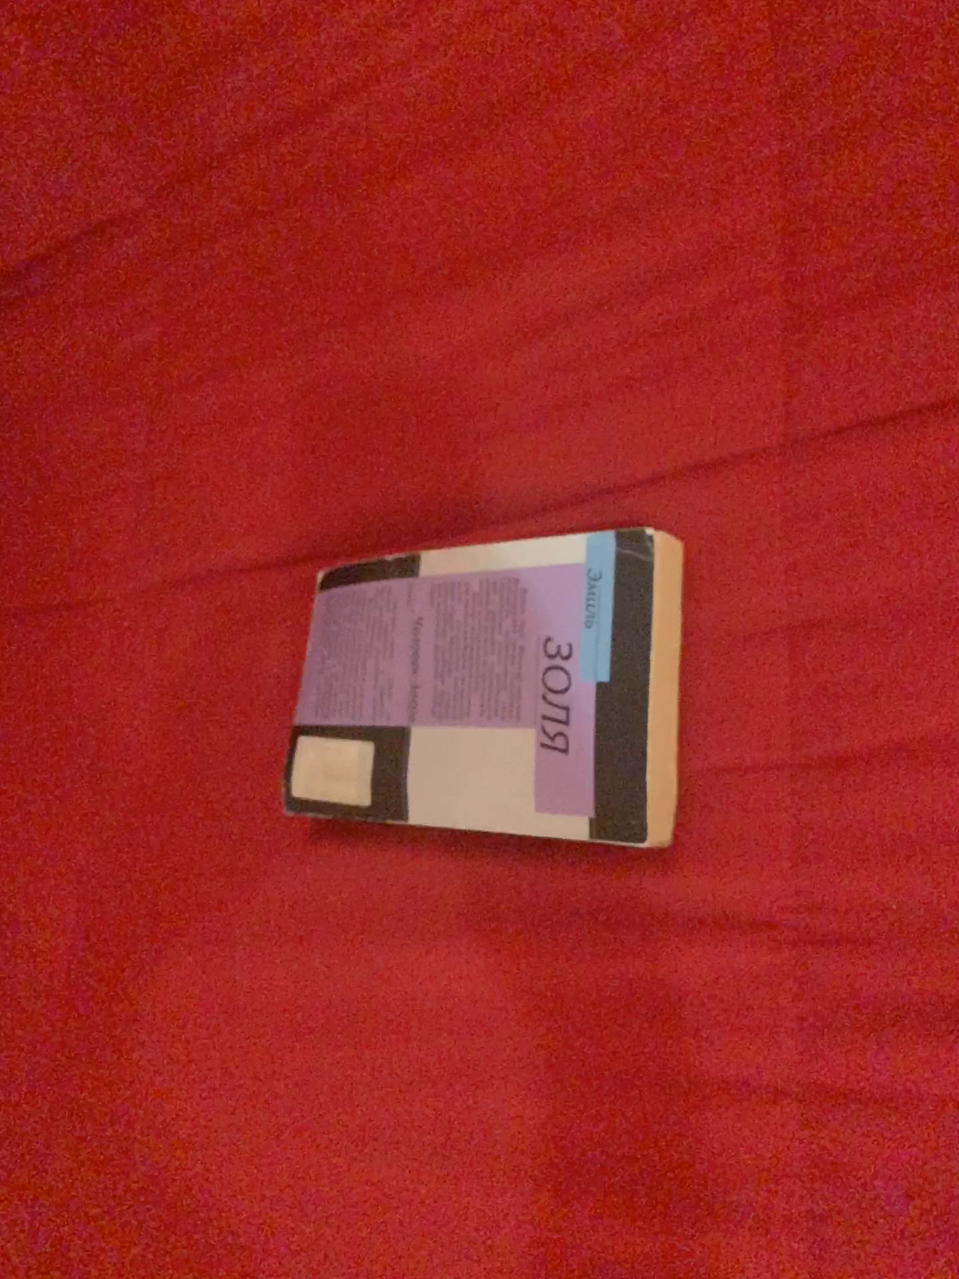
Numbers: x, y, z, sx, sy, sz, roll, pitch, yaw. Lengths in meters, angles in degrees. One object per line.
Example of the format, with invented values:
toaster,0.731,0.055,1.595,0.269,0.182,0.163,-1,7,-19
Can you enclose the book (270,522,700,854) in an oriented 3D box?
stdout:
book,-0.004,0.020,0.388,0.171,0.033,0.109,-3,78,36
